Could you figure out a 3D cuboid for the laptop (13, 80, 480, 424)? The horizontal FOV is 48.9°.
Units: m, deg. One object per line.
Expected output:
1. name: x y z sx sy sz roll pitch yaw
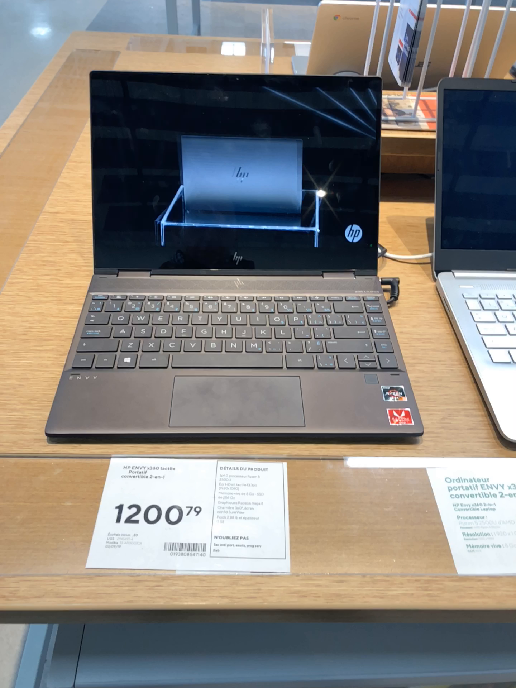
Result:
1. laptop: -0.011 -0.105 0.528 0.293 0.162 0.319 0 43 -2
